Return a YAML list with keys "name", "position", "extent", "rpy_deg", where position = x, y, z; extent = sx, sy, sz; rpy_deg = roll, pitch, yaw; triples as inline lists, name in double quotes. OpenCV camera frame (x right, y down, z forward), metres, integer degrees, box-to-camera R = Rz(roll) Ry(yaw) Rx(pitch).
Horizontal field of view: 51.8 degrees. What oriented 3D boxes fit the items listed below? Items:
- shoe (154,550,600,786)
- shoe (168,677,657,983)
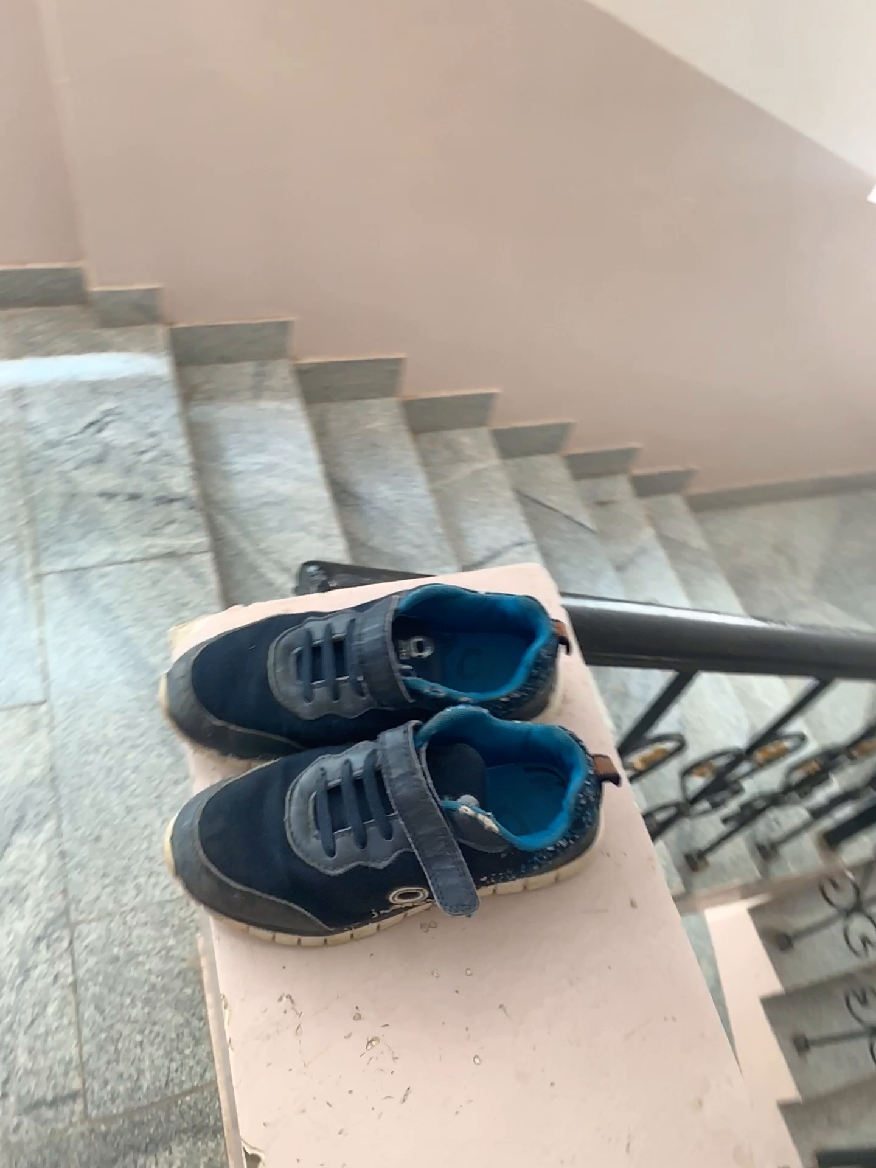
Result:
- name: "shoe"
  position: [-0.037, 0.044, 0.496]
  extent: [0.220, 0.079, 0.091]
  rpy_deg: [-2, 57, -14]
- name: "shoe"
  position: [-0.018, 0.122, 0.460]
  extent: [0.220, 0.079, 0.101]
  rpy_deg: [-4, 58, -16]
